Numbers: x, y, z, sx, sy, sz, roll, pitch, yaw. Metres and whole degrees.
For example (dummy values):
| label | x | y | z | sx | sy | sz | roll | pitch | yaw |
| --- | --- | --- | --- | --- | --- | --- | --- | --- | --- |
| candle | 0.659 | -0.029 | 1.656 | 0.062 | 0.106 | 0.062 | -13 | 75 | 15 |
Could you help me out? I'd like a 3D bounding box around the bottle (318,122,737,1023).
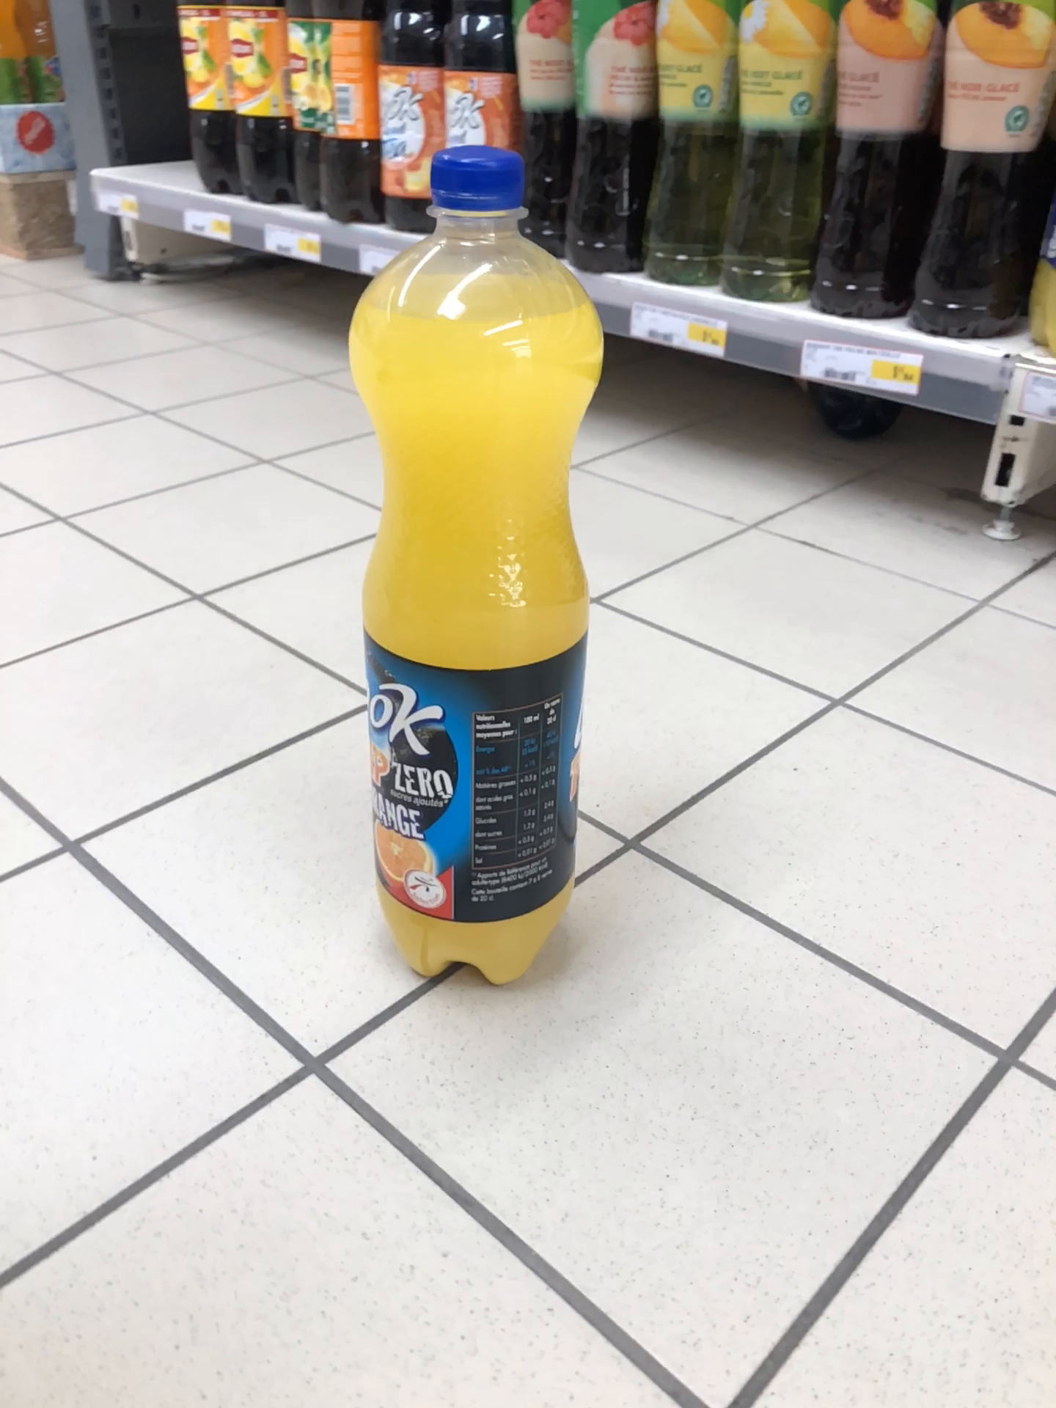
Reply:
| label | x | y | z | sx | sy | sz | roll | pitch | yaw |
| --- | --- | --- | --- | --- | --- | --- | --- | --- | --- |
| bottle | -0.007 | -0.043 | 0.448 | 0.100 | 0.318 | 0.100 | 1 | 30 | -1 |
